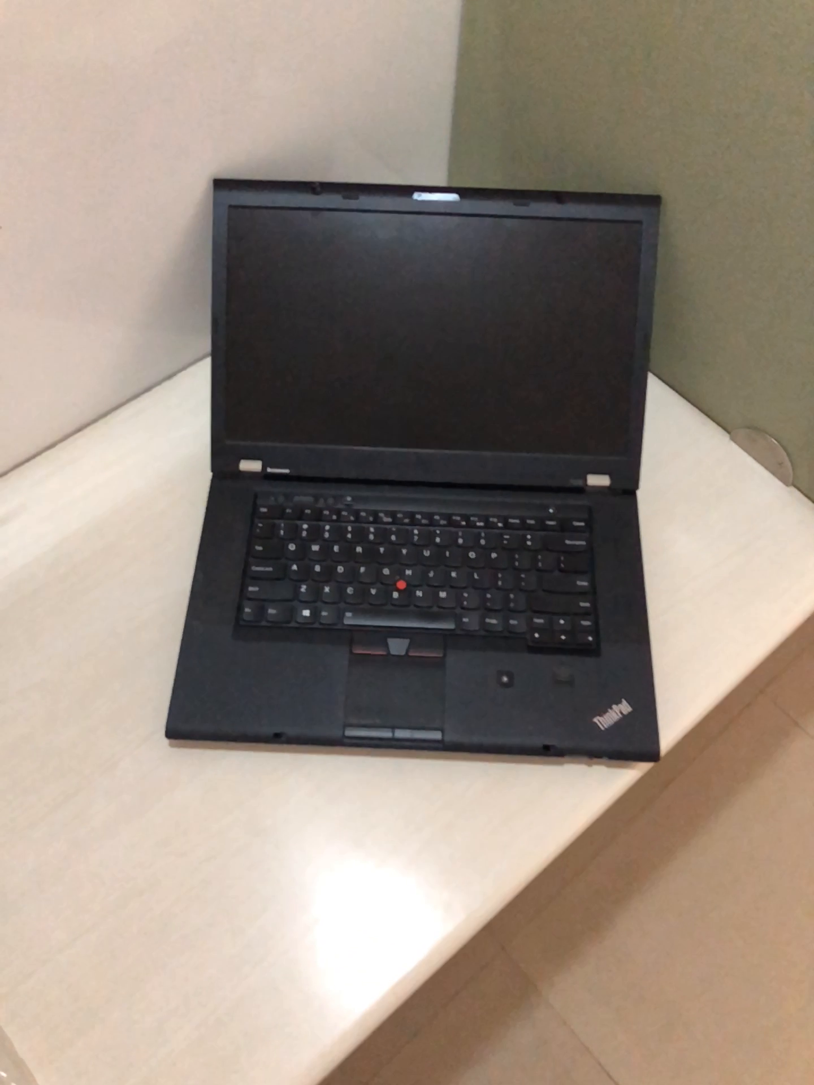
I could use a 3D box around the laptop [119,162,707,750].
[{"bbox_3d":[0.016,-0.077,0.687,0.353,0.142,0.412,3,64,2],"label":"laptop"}]
